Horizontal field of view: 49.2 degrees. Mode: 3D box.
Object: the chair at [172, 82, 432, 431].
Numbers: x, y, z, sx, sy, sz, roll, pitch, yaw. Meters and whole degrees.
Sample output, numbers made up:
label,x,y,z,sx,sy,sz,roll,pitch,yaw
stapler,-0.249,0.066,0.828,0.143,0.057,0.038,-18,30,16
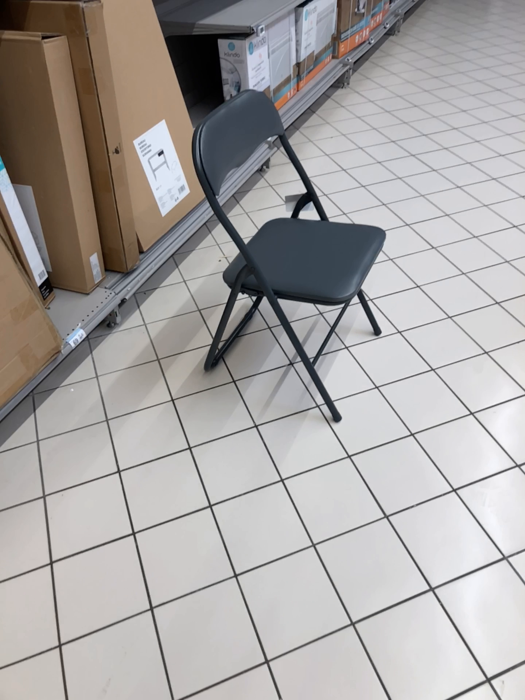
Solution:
label,x,y,z,sx,sy,sz,roll,pitch,yaw
chair,0.136,-0.278,1.672,0.500,0.755,0.554,13,43,16
